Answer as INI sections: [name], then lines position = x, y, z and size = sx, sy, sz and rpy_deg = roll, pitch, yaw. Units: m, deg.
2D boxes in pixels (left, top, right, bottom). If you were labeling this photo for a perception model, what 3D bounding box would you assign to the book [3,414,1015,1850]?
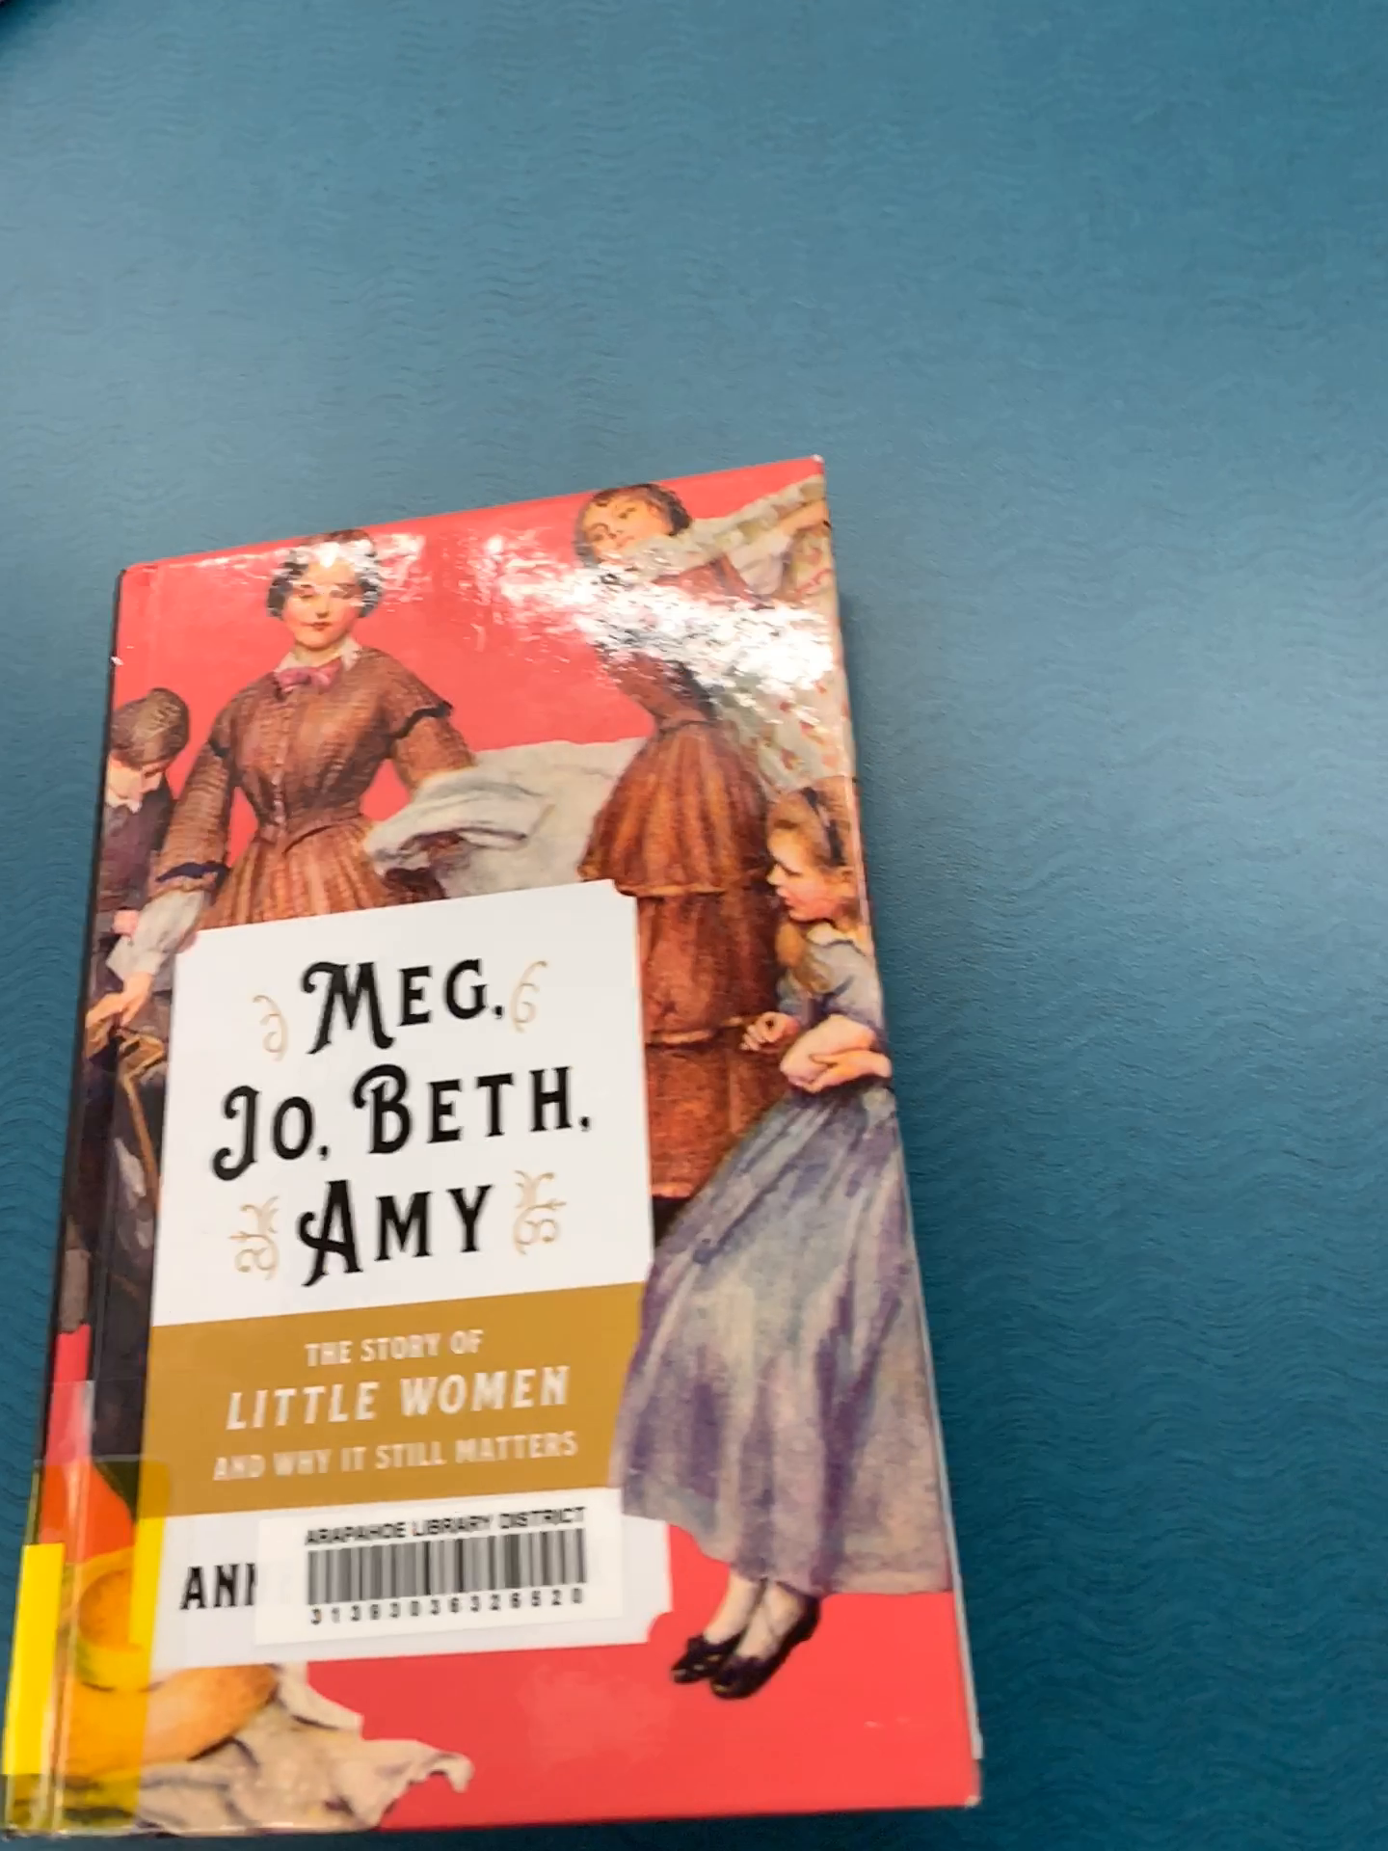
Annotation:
[book]
position = -0.033, 0.026, 0.248
size = 0.140, 0.040, 0.220
rpy_deg = -7, 70, 7
